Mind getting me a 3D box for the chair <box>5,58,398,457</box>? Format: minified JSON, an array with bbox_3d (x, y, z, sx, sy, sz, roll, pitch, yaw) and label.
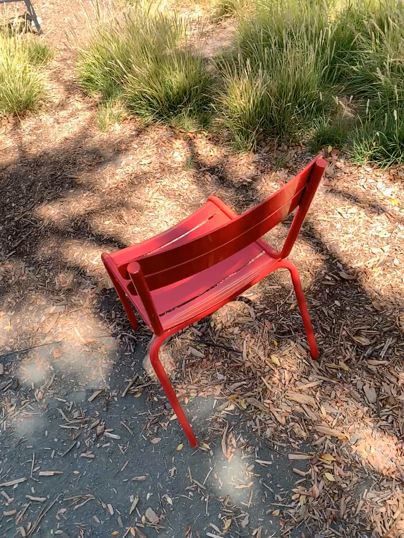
[{"bbox_3d":[-0.006,0.001,1.170,0.610,0.786,0.572,-30,56,-17],"label":"chair"}]
